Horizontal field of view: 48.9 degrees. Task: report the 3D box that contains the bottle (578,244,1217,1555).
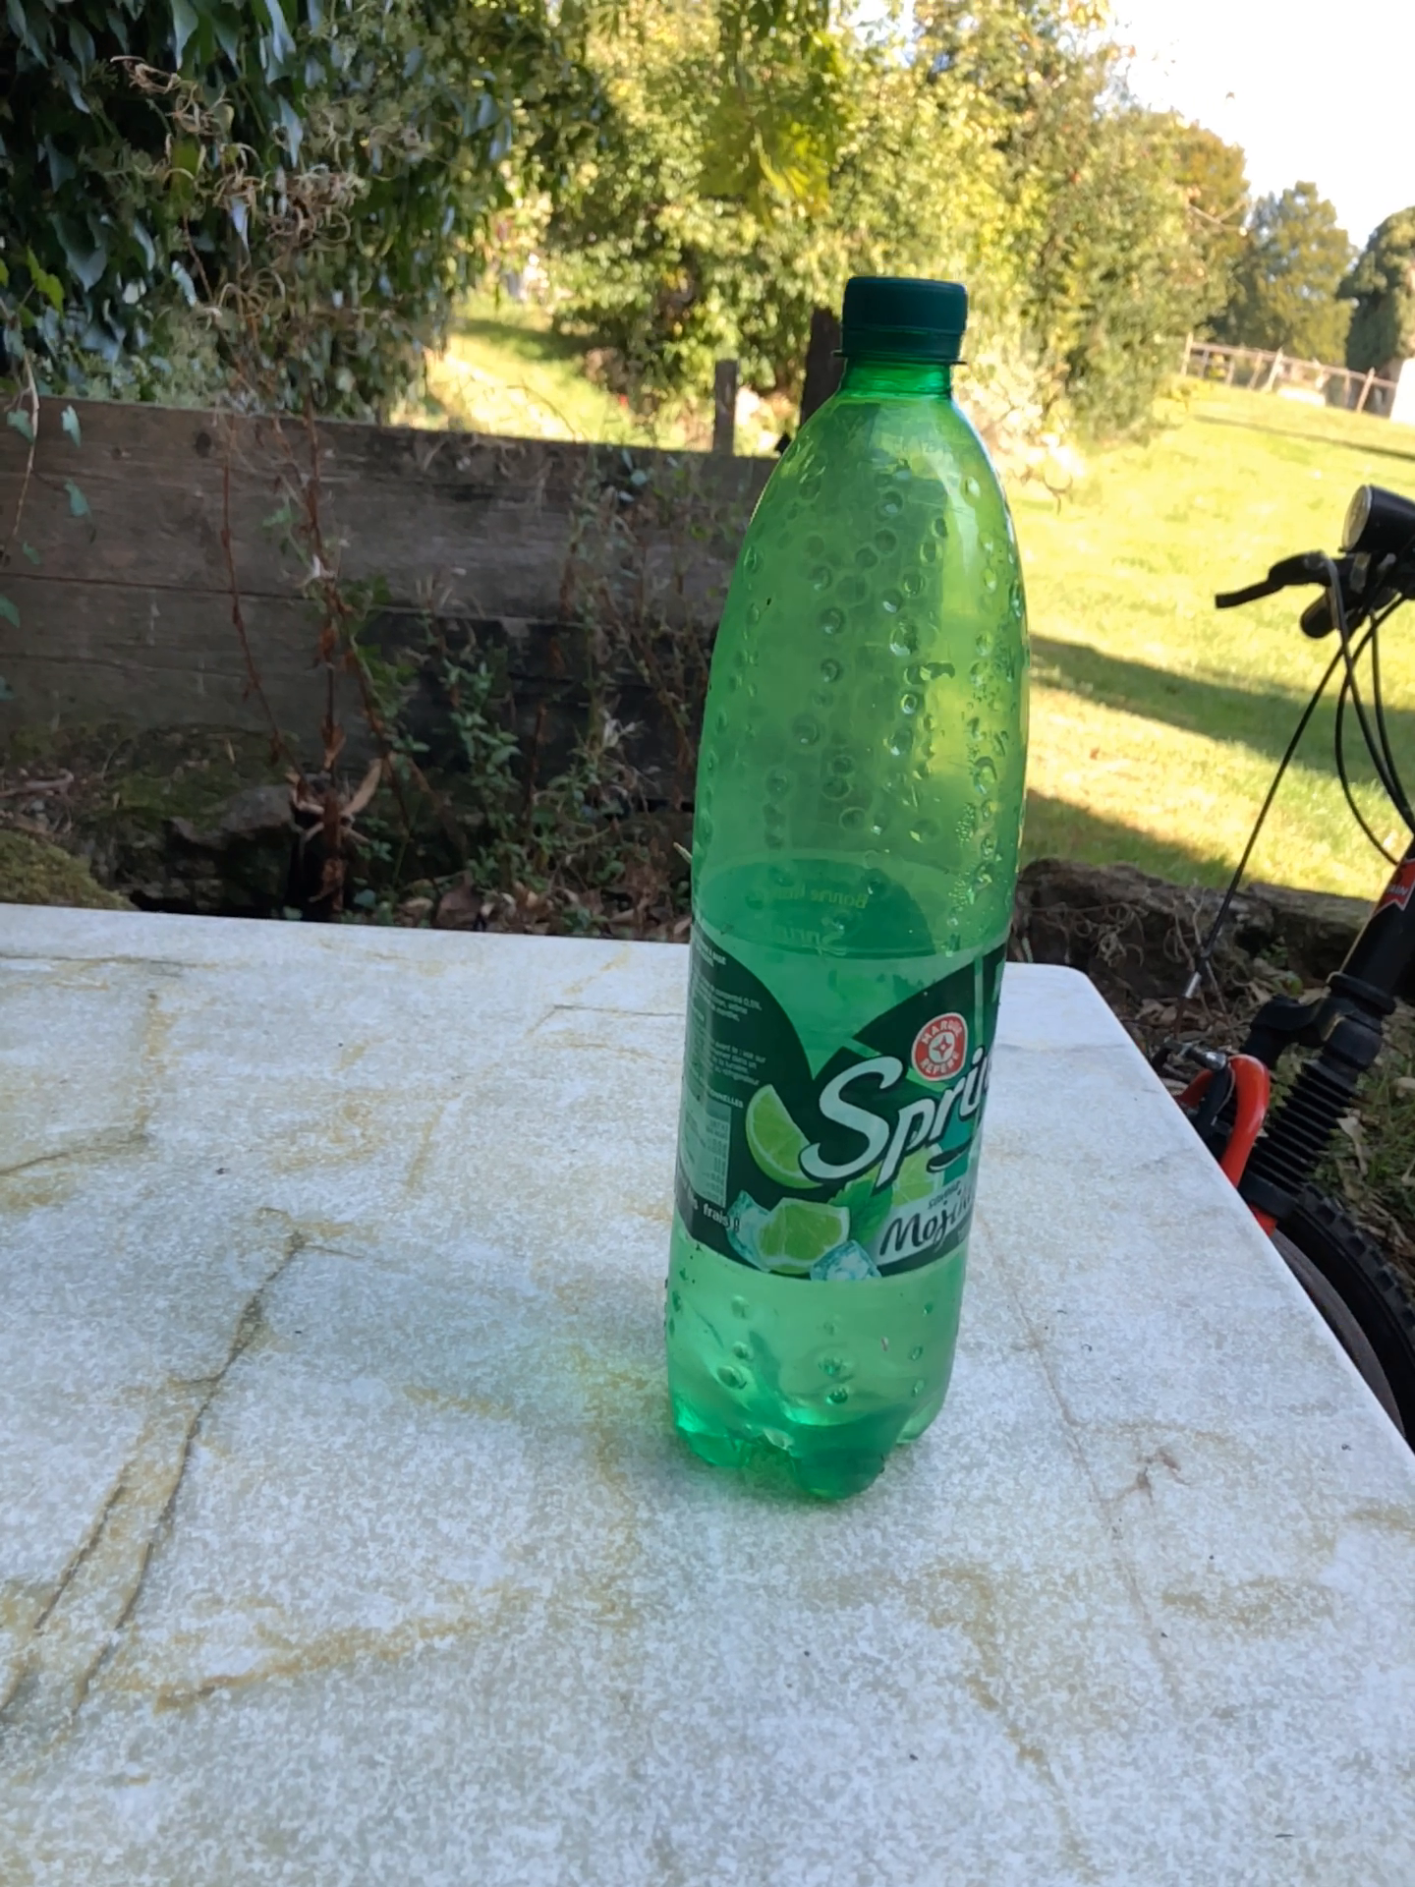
[{"bbox_3d":[0.040,-0.009,0.409,0.090,0.308,0.090,5,20,-2],"label":"bottle"}]
